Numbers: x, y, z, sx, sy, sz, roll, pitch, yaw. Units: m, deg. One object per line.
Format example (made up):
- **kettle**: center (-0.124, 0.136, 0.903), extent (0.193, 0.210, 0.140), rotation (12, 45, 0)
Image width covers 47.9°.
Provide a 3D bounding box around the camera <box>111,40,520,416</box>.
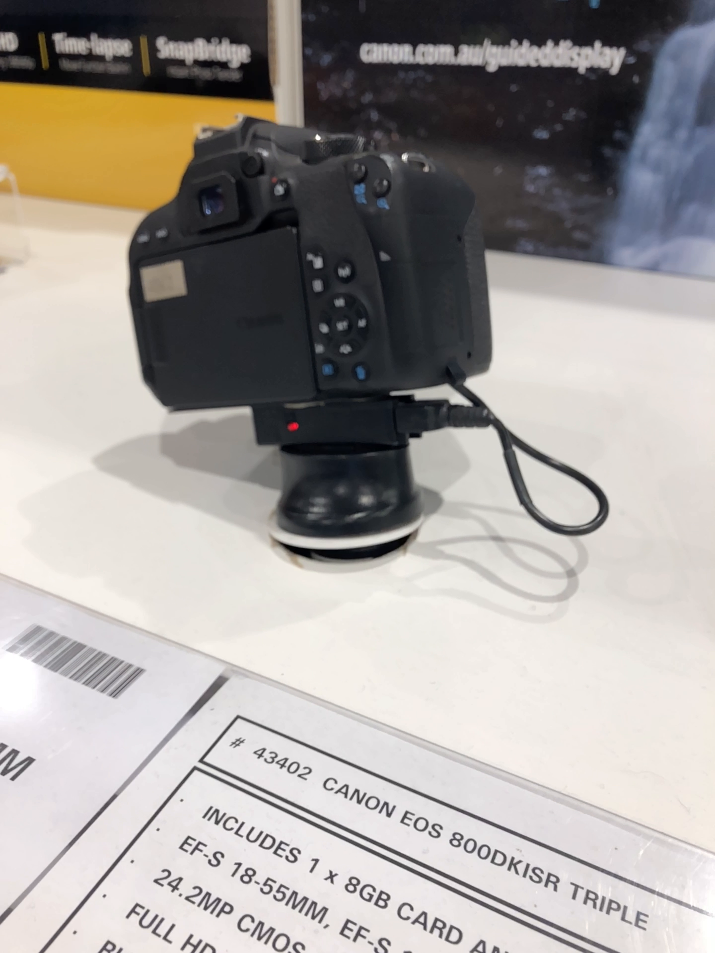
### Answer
- **camera**: center (-0.016, -0.084, 0.311), extent (0.130, 0.105, 0.070), rotation (-2, 8, 32)
